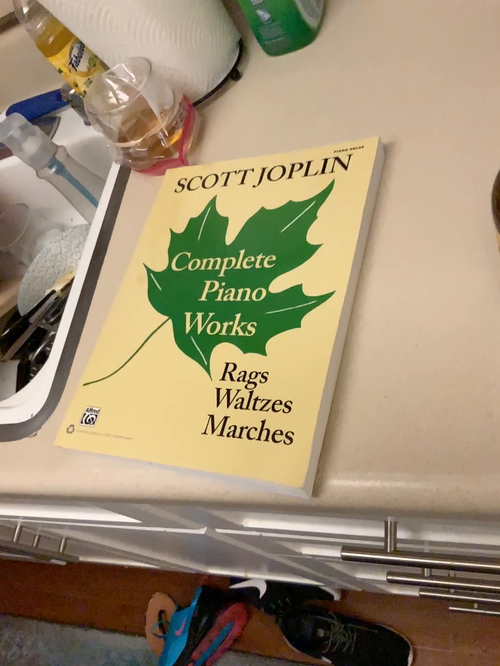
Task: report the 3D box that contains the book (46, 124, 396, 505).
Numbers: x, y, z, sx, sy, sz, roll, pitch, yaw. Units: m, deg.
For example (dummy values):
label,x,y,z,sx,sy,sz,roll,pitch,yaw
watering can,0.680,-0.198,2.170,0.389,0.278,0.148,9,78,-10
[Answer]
label,x,y,z,sx,sy,sz,roll,pitch,yaw
book,-0.021,-0.036,0.488,0.240,0.030,0.320,2,63,30
